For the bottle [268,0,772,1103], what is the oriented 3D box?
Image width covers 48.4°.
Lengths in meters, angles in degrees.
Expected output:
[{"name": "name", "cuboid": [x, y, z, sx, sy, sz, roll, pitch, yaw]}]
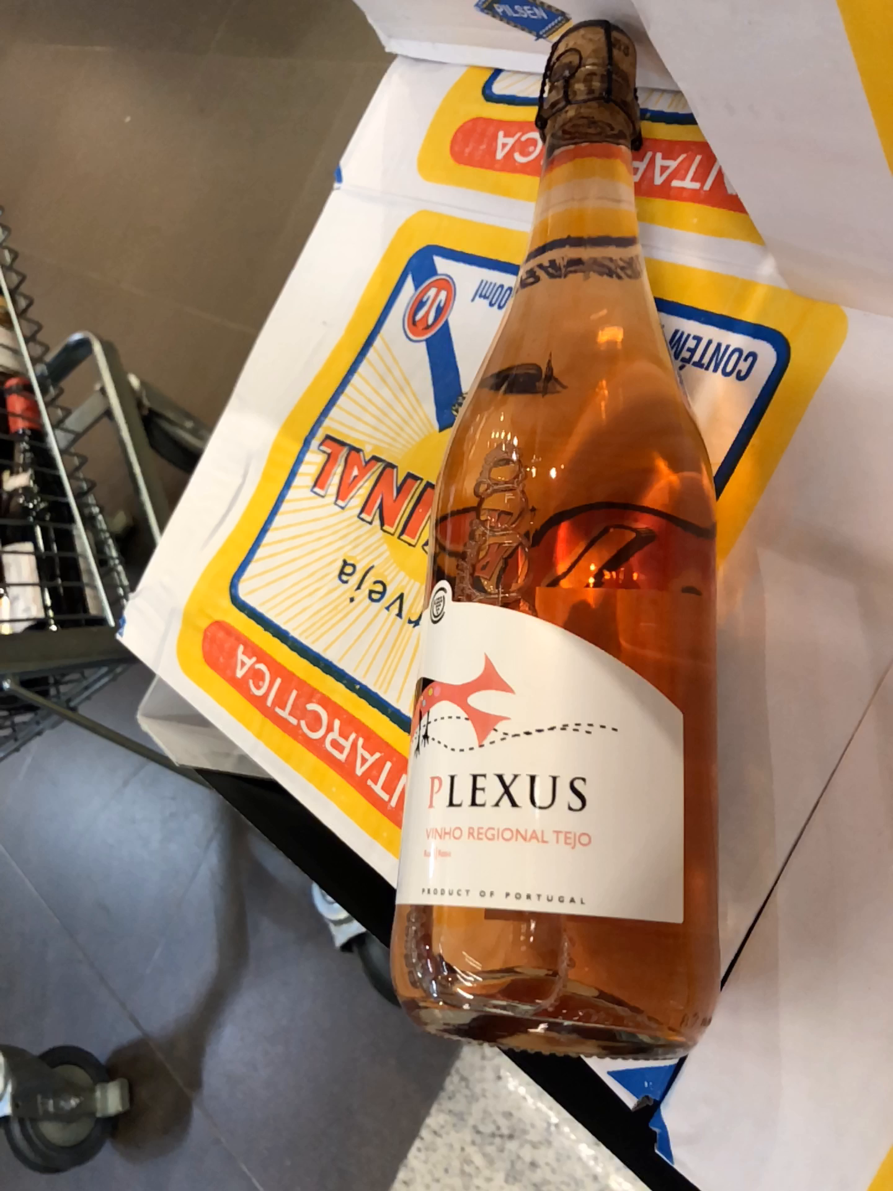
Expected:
[{"name": "bottle", "cuboid": [0.028, -0.035, 0.268, 0.090, 0.070, 0.290, -8, 68, 34]}]
